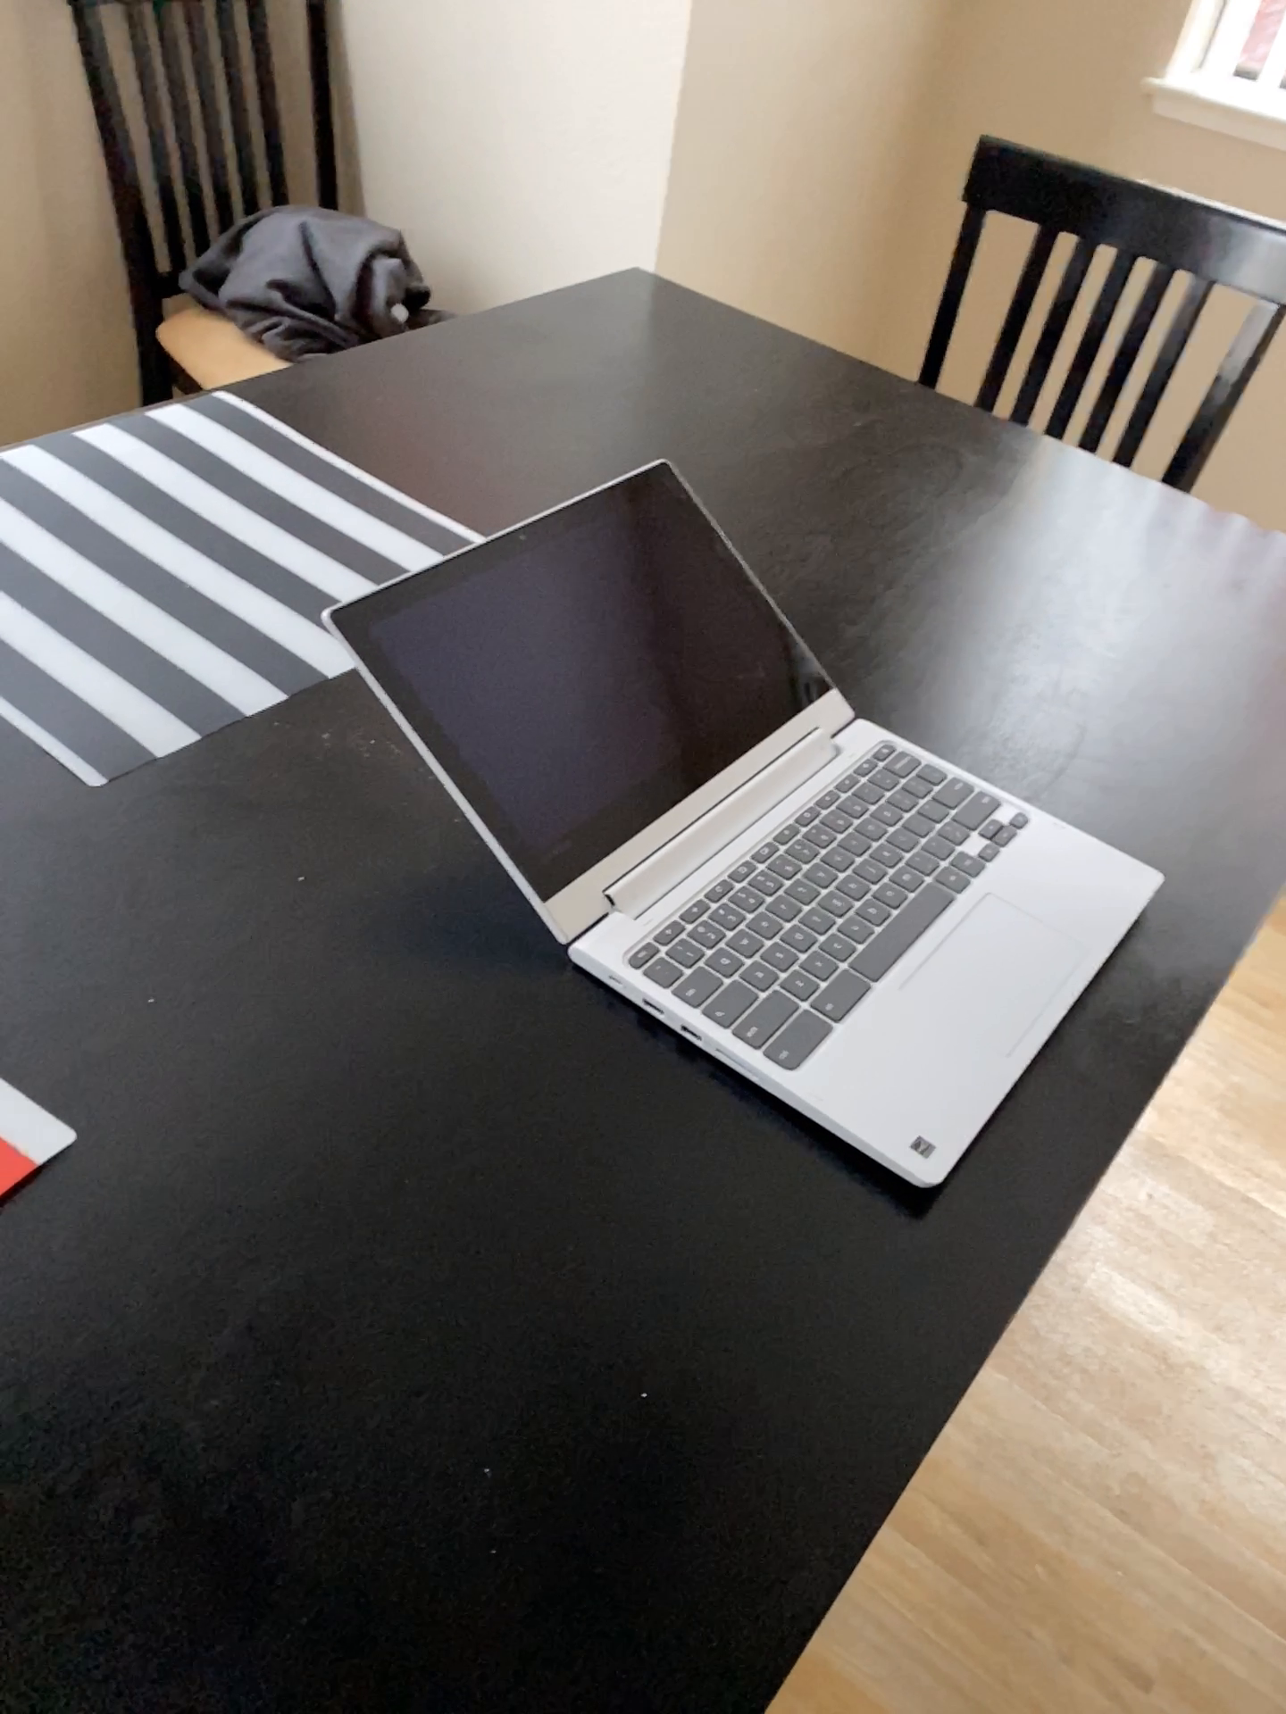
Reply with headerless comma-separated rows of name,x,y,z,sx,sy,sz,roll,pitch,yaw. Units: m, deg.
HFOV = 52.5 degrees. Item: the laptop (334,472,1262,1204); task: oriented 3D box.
laptop,0.078,-0.048,0.691,0.381,0.105,0.286,31,45,23
